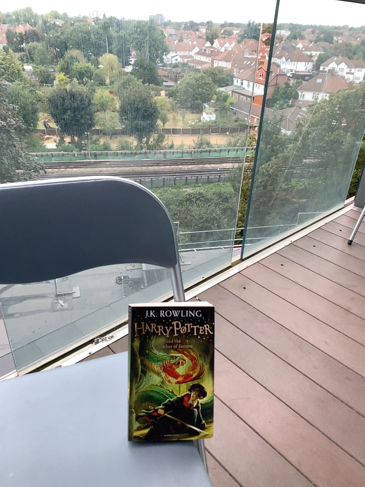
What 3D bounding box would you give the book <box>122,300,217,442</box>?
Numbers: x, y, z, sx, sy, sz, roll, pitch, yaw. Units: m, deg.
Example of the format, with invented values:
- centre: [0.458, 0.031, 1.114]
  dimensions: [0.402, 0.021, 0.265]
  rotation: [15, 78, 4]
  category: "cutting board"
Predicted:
- centre: [-0.021, 0.192, 0.575]
  dimensions: [0.140, 0.200, 0.040]
  rotation: [-1, 0, -5]
  category: "book"
